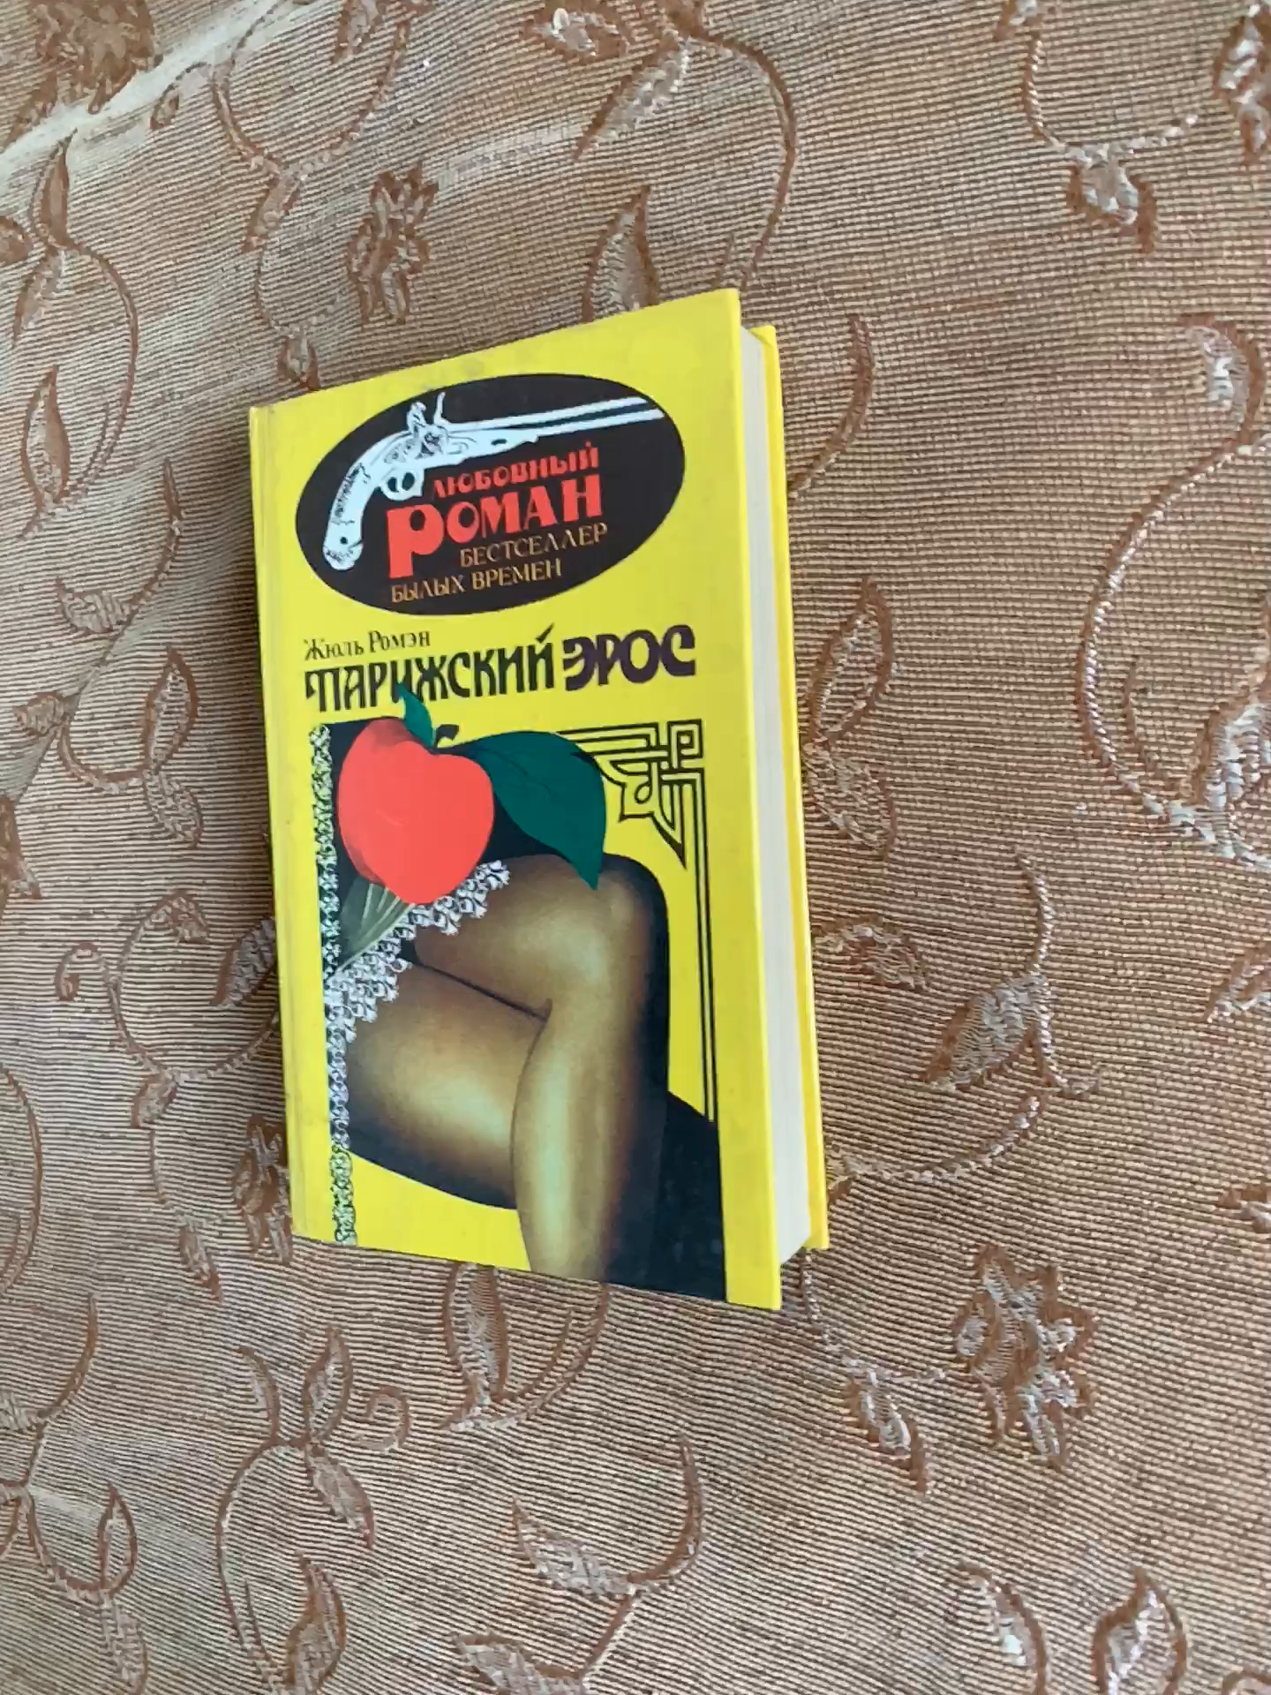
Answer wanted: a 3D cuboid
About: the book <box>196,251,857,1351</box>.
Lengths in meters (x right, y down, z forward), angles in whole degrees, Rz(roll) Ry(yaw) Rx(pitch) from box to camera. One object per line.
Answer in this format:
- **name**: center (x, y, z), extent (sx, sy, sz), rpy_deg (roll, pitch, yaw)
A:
- **book**: center (-0.026, -0.006, 0.281), extent (0.130, 0.040, 0.196), rpy_deg (-2, 92, 28)
